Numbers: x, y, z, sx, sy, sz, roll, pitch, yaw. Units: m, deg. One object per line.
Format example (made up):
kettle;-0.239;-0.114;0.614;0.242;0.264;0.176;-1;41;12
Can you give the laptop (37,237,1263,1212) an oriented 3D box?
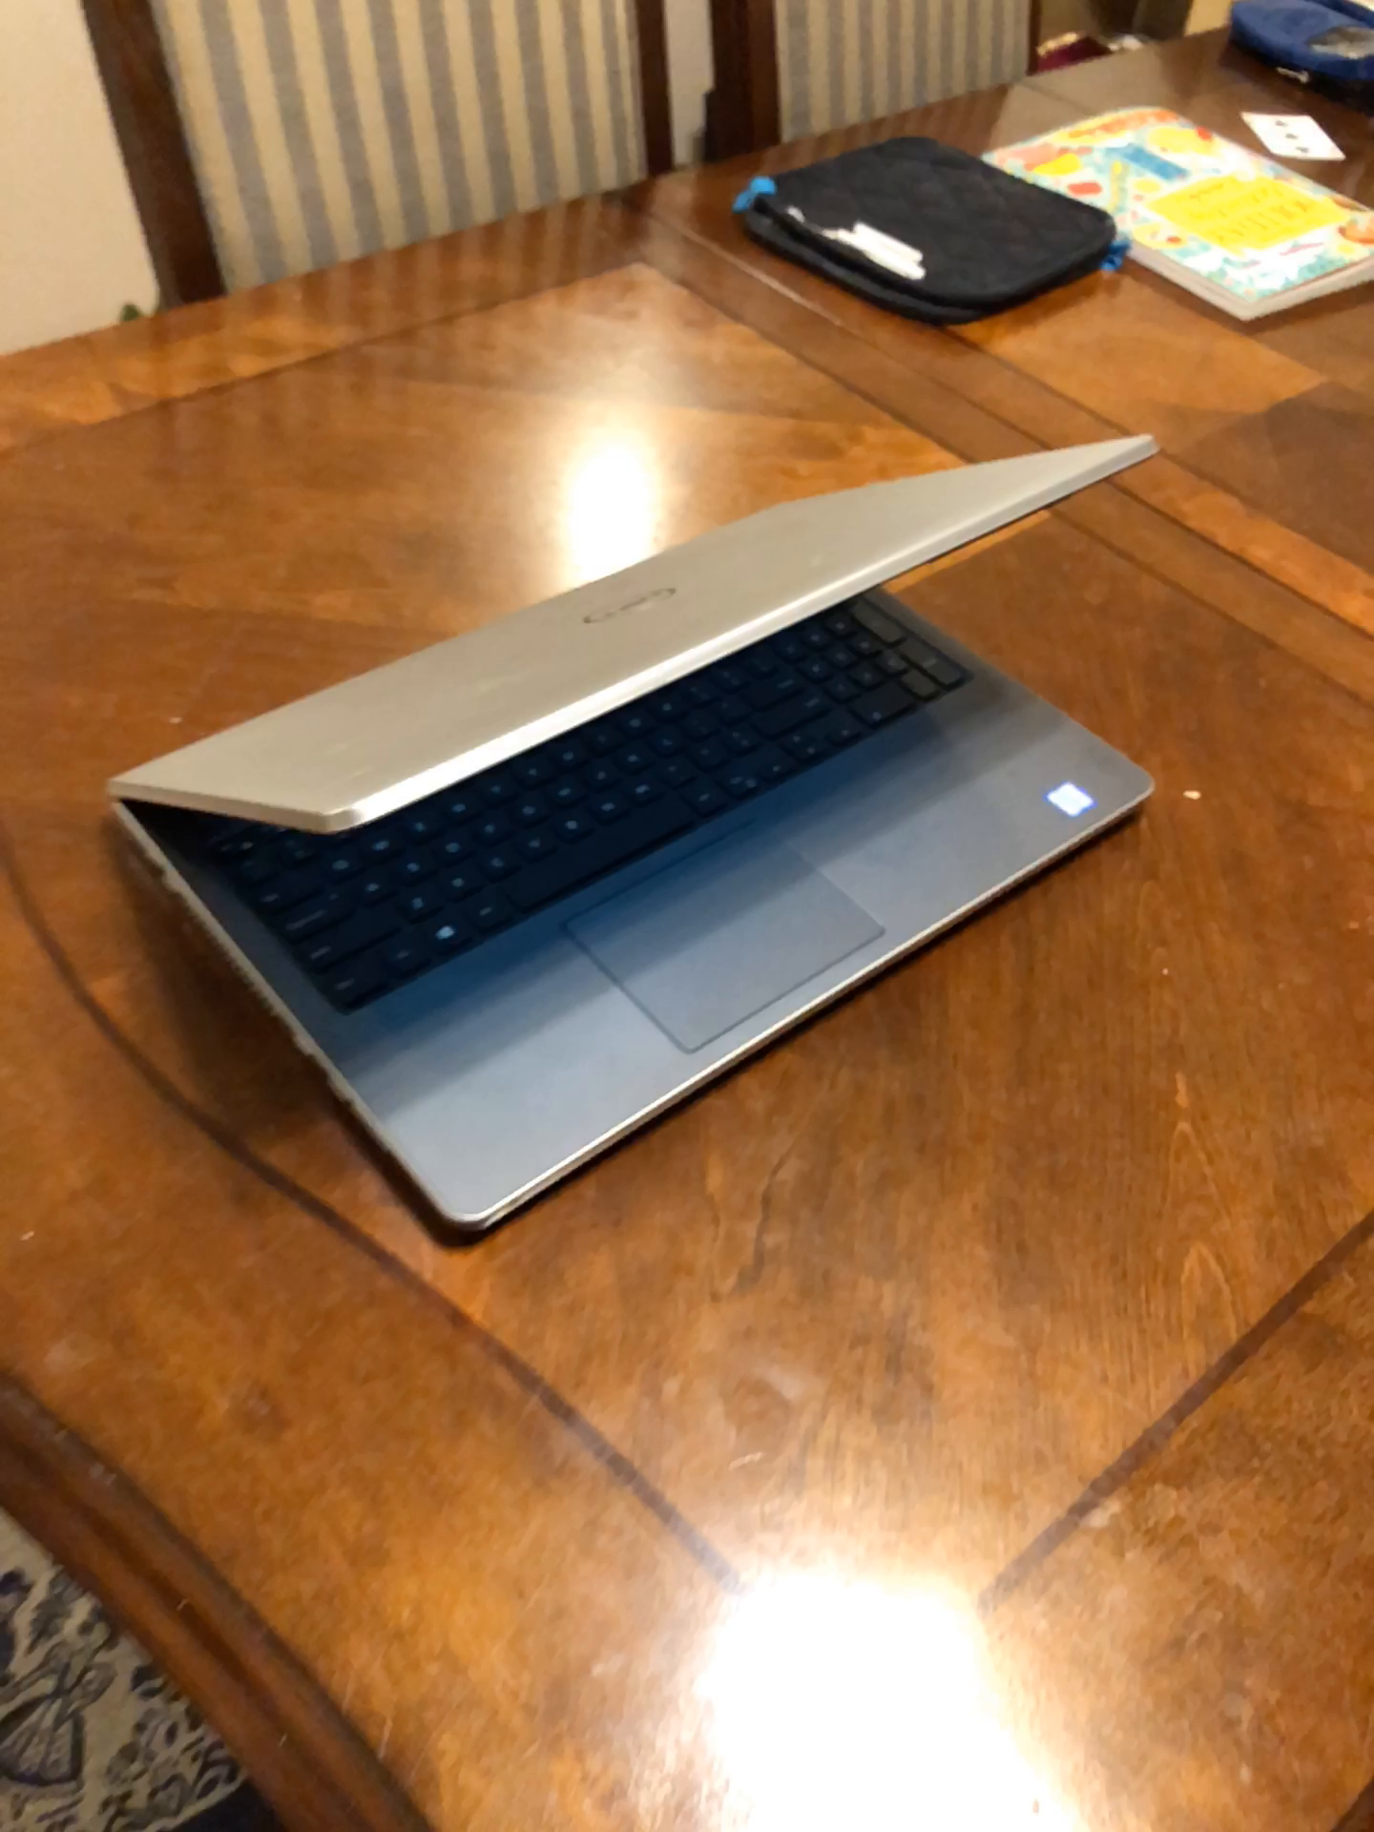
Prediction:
laptop;-0.009;-0.104;0.597;0.364;0.147;0.245;-29;56;-27
